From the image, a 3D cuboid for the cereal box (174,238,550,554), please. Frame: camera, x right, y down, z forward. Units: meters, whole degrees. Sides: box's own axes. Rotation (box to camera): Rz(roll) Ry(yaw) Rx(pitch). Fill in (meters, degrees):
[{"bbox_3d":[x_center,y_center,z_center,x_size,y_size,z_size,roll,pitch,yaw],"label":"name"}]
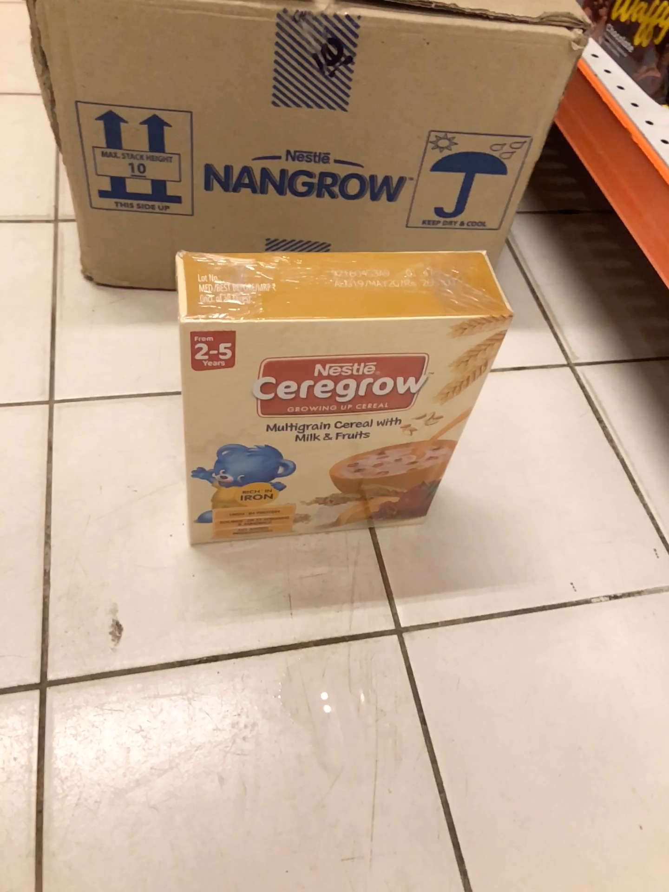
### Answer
[{"bbox_3d":[0.001,-0.018,0.399,0.160,0.189,0.050,-4,54,-12],"label":"cereal box"}]
